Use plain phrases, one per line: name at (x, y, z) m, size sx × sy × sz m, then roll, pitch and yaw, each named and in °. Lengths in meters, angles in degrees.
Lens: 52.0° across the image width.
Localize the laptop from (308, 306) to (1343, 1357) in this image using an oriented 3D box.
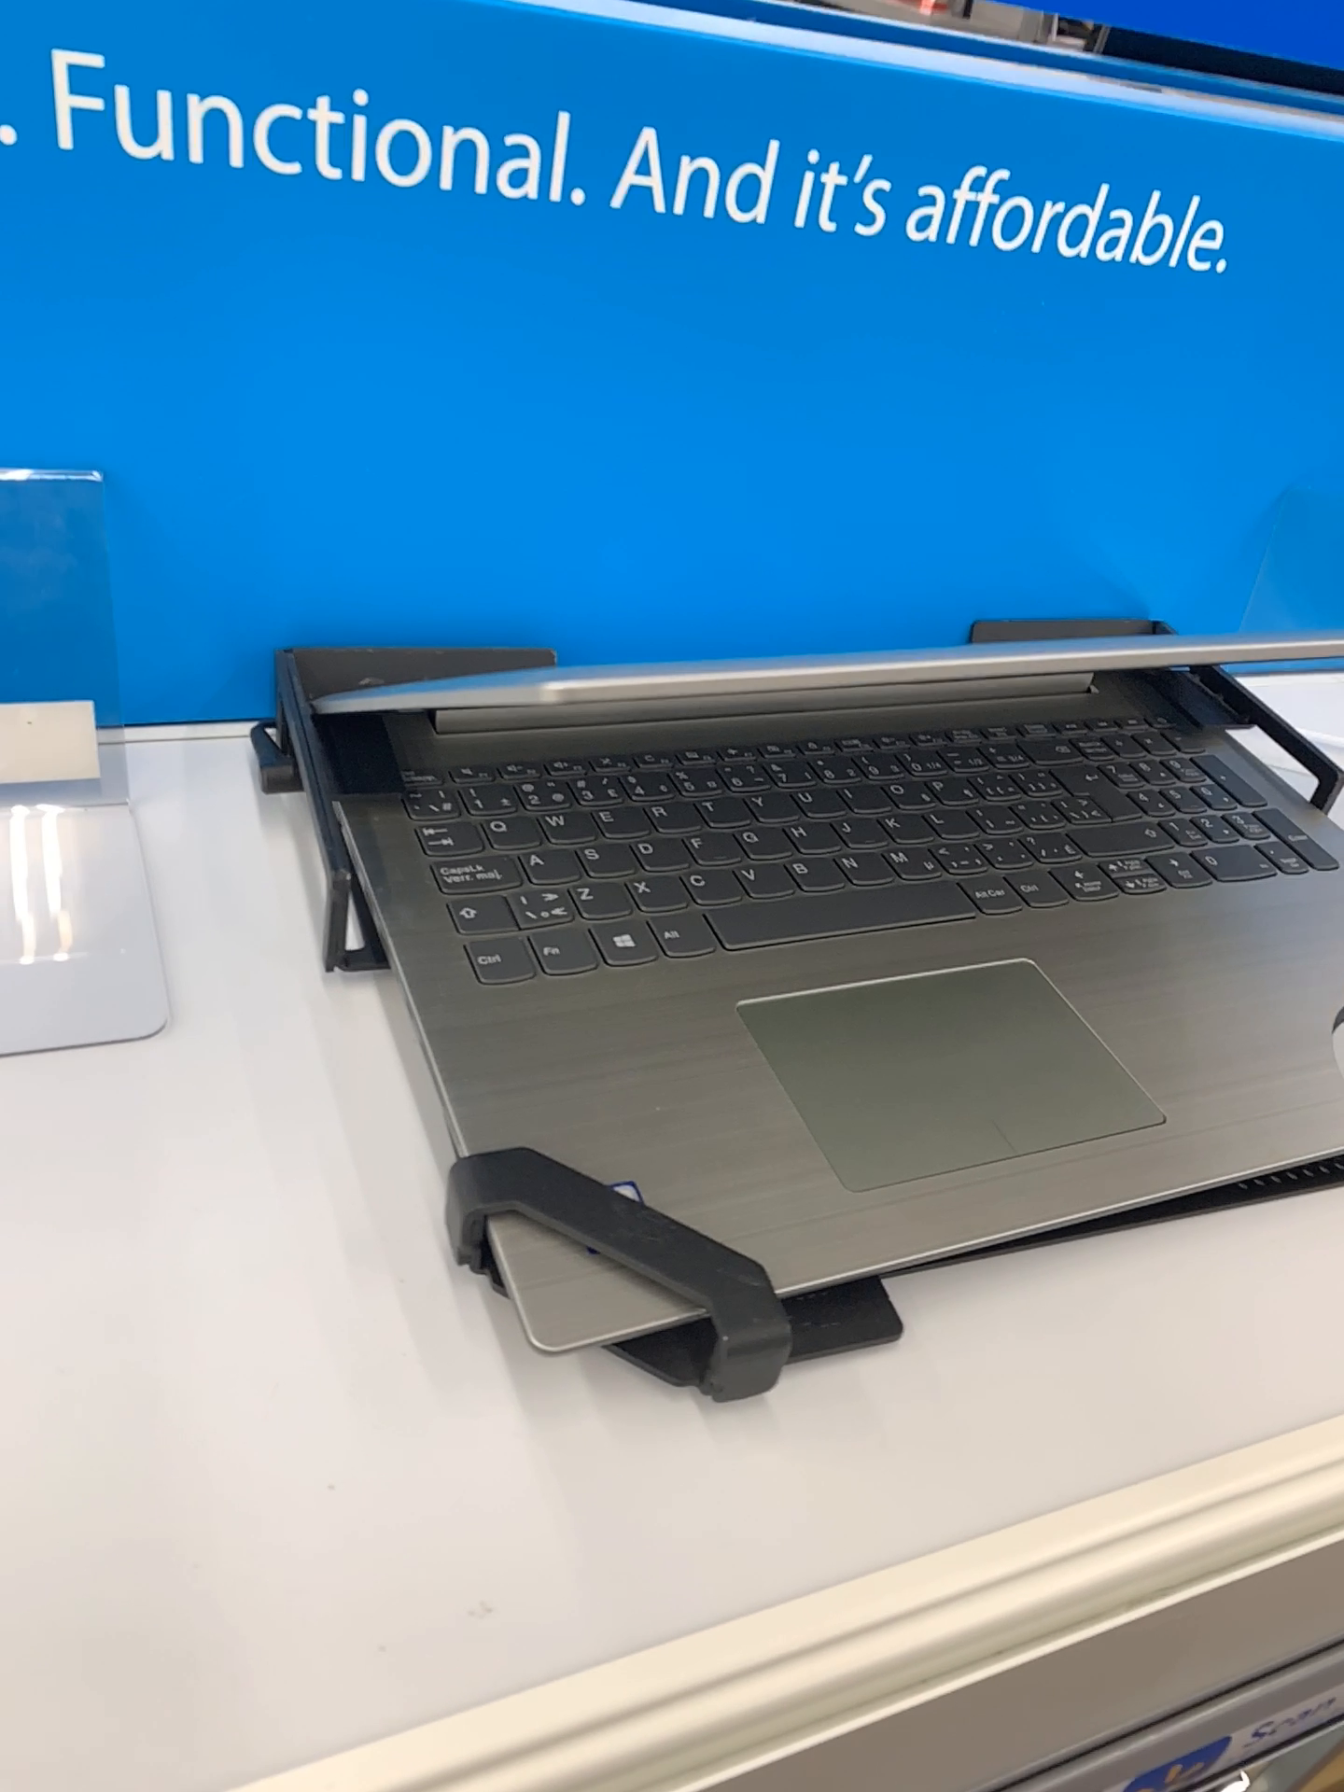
laptop at (0.090, -0.048, 0.366) m, size 0.327 × 0.115 × 0.230 m, roll -6°, pitch 40°, yaw -24°
